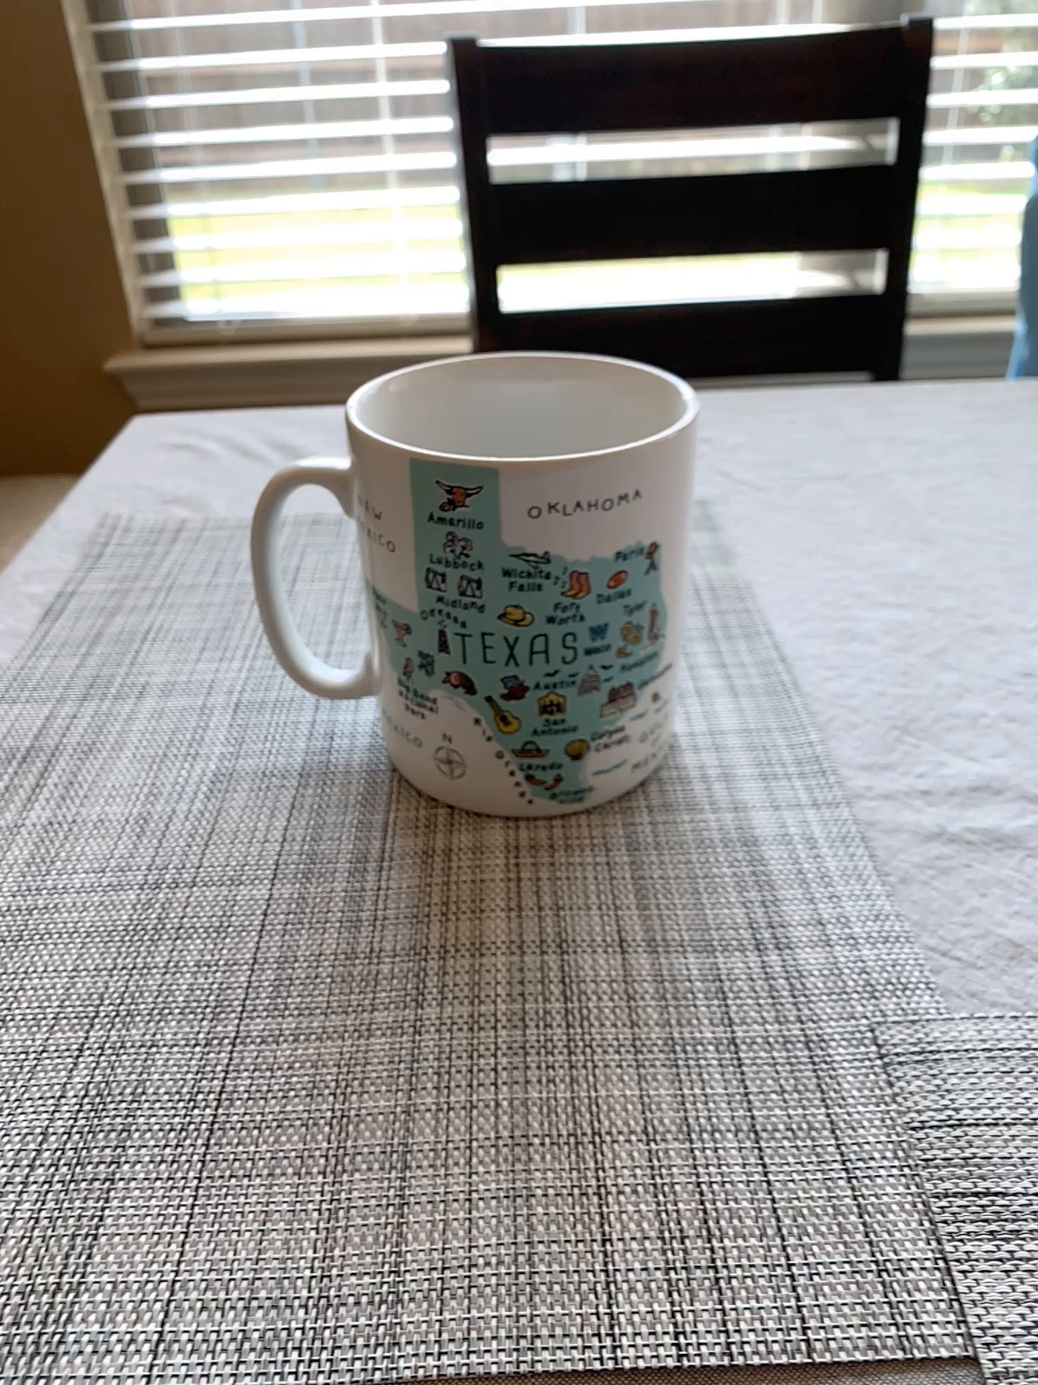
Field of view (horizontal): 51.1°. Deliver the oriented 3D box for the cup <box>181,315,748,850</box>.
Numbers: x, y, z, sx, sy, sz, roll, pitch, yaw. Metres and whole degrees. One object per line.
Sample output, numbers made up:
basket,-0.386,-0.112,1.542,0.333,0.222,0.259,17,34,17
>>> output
cup,-0.009,-0.046,0.380,0.151,0.136,0.112,8,33,17
